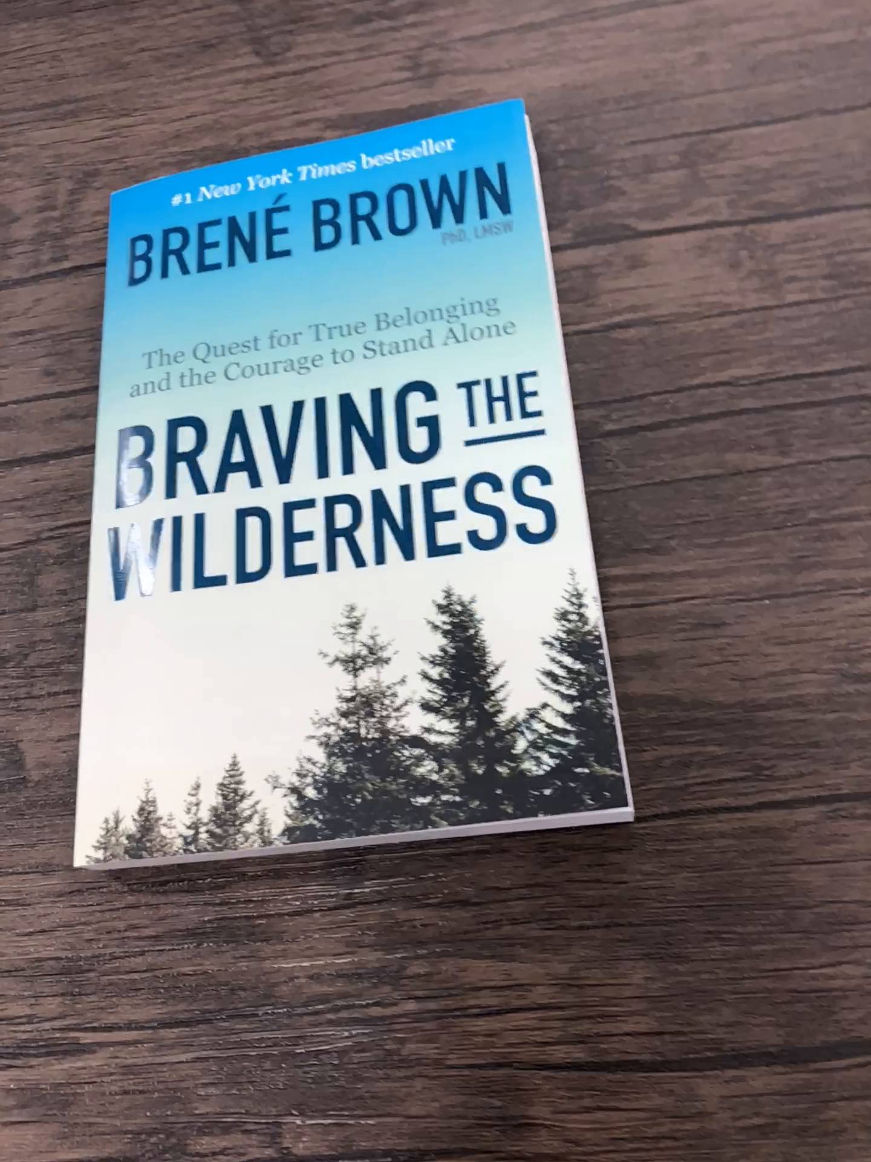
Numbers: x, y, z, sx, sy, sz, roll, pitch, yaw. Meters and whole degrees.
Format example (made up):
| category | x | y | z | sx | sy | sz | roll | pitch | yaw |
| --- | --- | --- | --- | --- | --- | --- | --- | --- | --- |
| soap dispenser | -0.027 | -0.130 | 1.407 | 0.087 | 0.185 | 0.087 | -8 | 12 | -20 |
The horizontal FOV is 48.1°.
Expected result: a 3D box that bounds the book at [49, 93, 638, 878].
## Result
| category | x | y | z | sx | sy | sz | roll | pitch | yaw |
| --- | --- | --- | --- | --- | --- | --- | --- | --- | --- |
| book | -0.029 | -0.030 | 0.250 | 0.130 | 0.021 | 0.191 | -8 | 70 | 9 |
